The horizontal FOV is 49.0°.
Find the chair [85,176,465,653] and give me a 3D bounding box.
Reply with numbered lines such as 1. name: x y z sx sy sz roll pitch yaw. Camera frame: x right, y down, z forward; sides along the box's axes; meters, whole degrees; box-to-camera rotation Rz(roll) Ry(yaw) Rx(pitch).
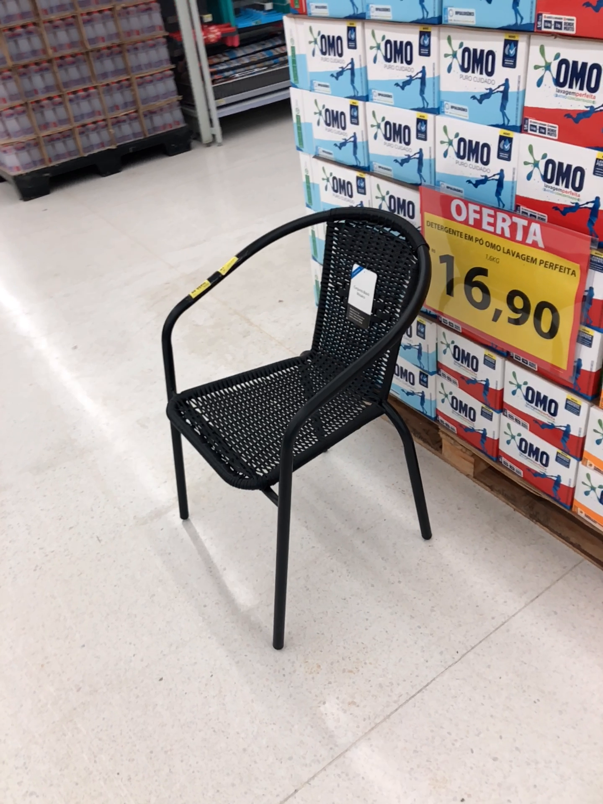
1. chair: -0.029 0.005 1.405 0.501 0.725 0.503 -27 40 -23
